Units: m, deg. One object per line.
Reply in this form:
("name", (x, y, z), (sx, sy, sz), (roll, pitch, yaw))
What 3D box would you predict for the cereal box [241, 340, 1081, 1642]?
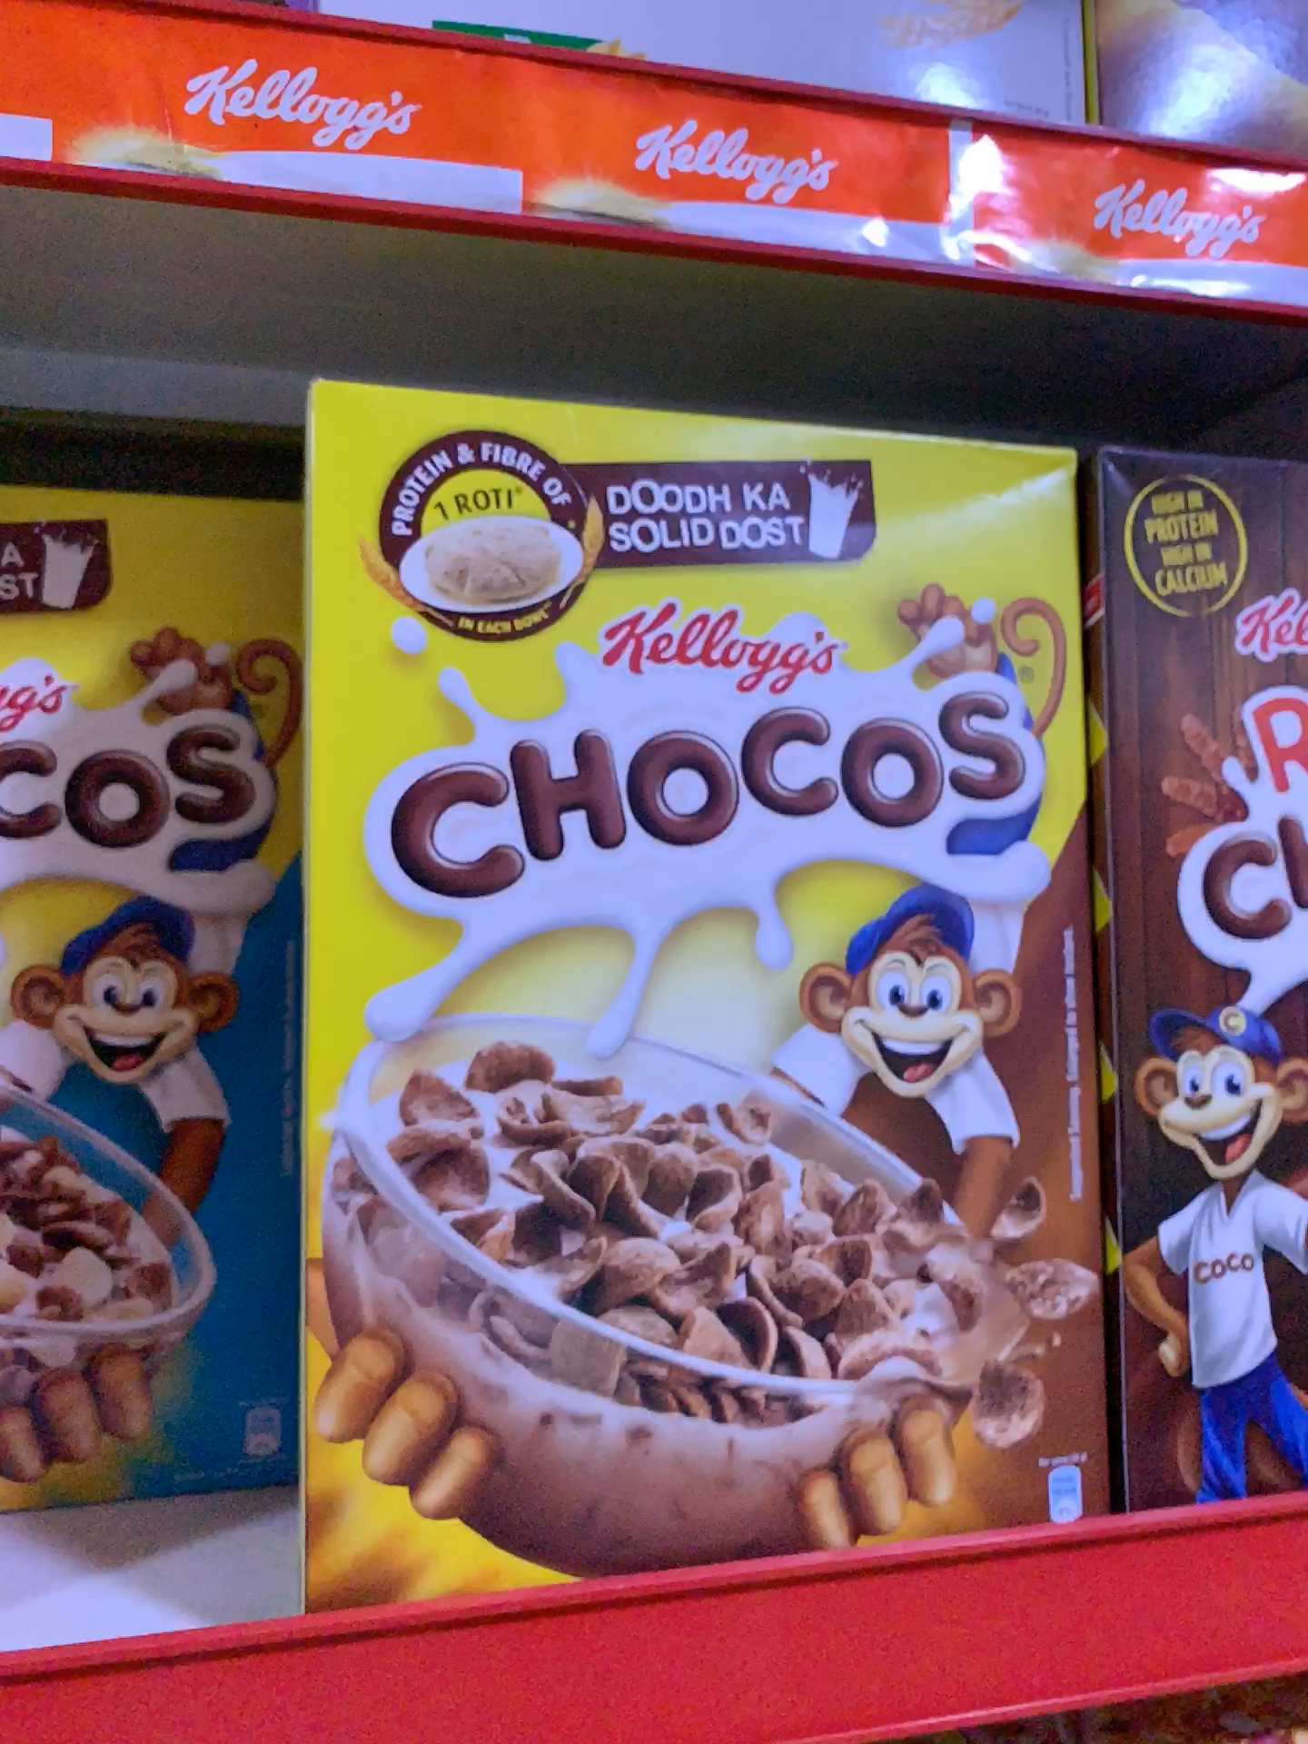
("cereal box", (0.000, 0.020, 0.305), (0.170, 0.240, 0.060), (0, -3, -14))
